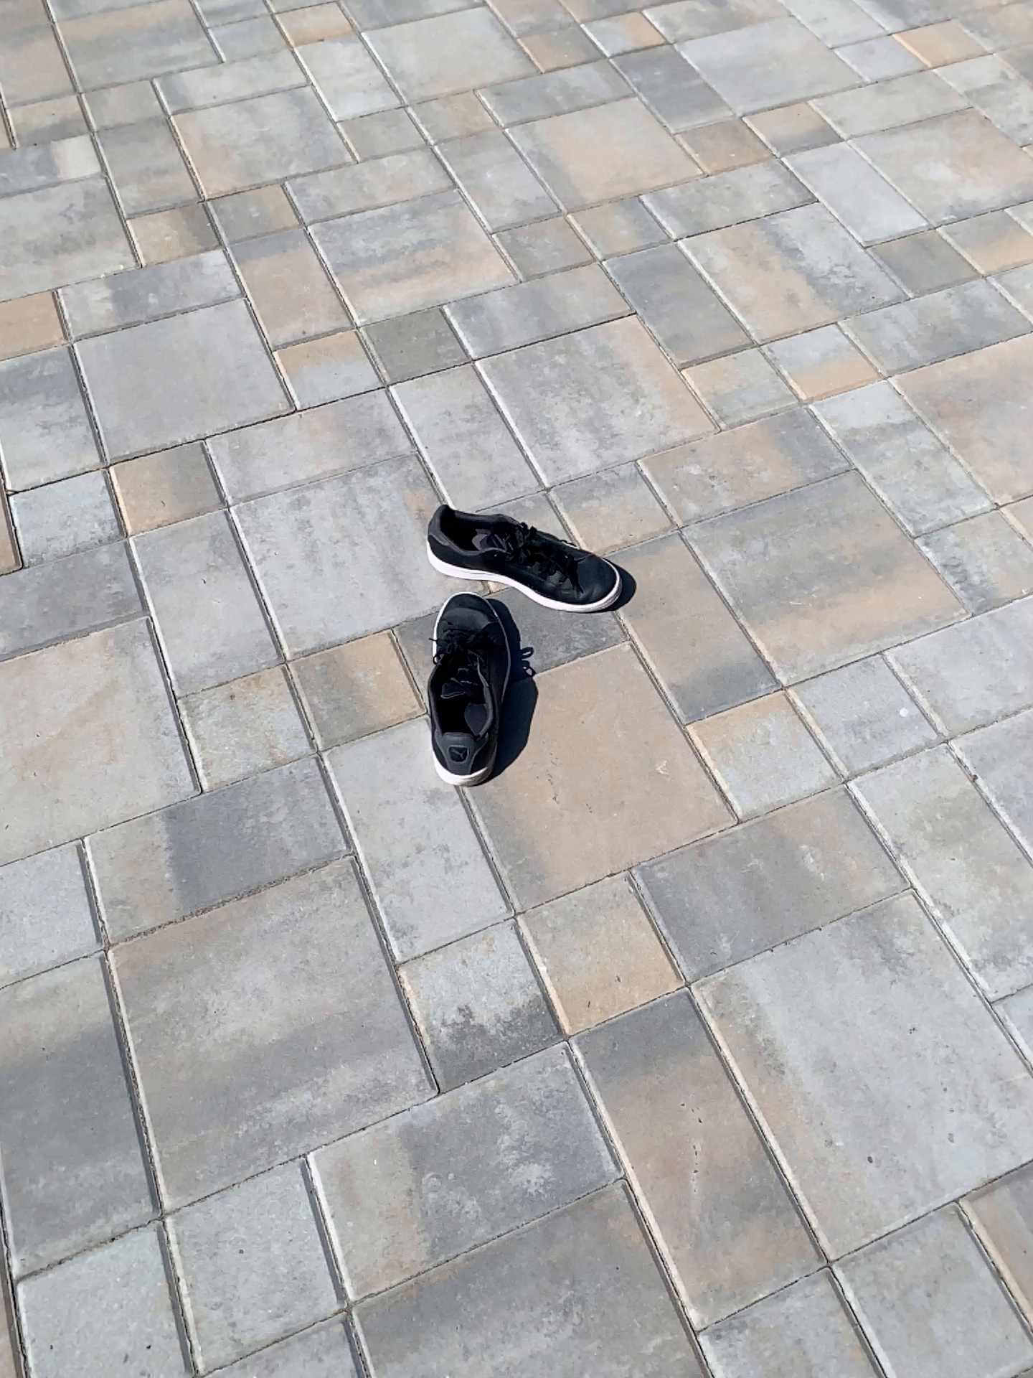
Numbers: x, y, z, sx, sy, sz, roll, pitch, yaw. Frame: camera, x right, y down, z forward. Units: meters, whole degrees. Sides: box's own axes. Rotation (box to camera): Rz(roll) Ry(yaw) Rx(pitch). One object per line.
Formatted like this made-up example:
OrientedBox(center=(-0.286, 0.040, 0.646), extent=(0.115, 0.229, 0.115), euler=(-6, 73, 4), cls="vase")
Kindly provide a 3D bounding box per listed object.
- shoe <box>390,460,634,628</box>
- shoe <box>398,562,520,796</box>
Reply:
OrientedBox(center=(-0.005, -0.186, 1.339), extent=(0.280, 0.100, 0.110), euler=(16, 59, 11), cls="shoe")
OrientedBox(center=(-0.061, -0.014, 1.239), extent=(0.110, 0.110, 0.251), euler=(4, 57, 3), cls="shoe")
